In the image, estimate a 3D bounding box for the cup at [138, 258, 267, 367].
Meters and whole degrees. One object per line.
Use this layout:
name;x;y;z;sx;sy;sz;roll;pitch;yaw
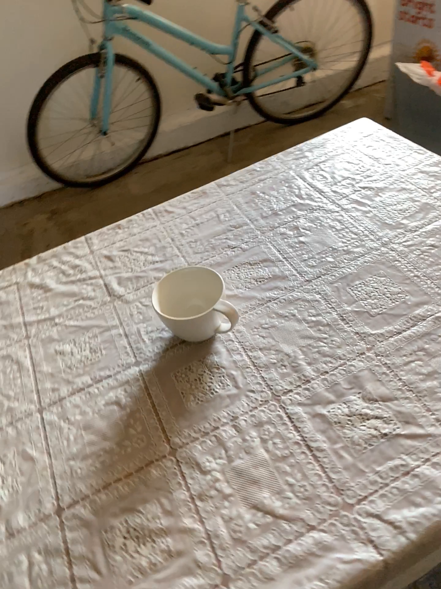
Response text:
cup;-0.023;0.022;0.640;0.140;0.070;0.100;16;53;26
